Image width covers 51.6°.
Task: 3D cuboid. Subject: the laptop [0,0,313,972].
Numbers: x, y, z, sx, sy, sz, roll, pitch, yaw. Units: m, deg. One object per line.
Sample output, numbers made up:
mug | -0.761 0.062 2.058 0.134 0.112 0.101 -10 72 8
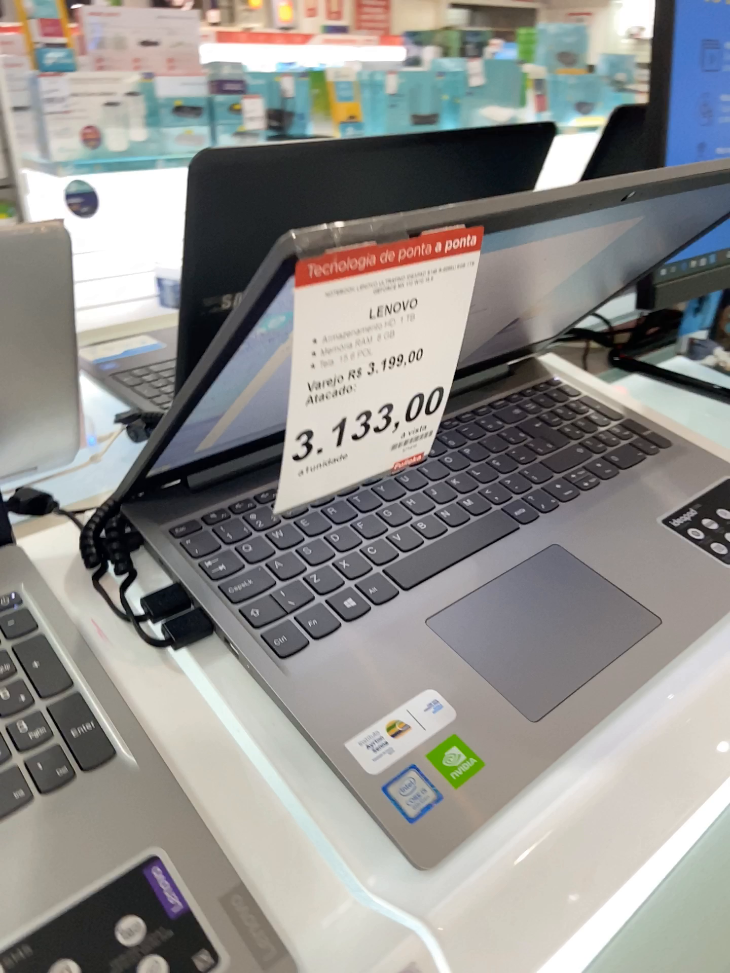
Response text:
laptop | -0.272 0.012 0.184 0.347 0.224 0.352 -22 43 -38

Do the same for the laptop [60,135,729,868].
laptop | 0.080 -0.057 0.404 0.360 0.163 0.242 -23 43 -35
